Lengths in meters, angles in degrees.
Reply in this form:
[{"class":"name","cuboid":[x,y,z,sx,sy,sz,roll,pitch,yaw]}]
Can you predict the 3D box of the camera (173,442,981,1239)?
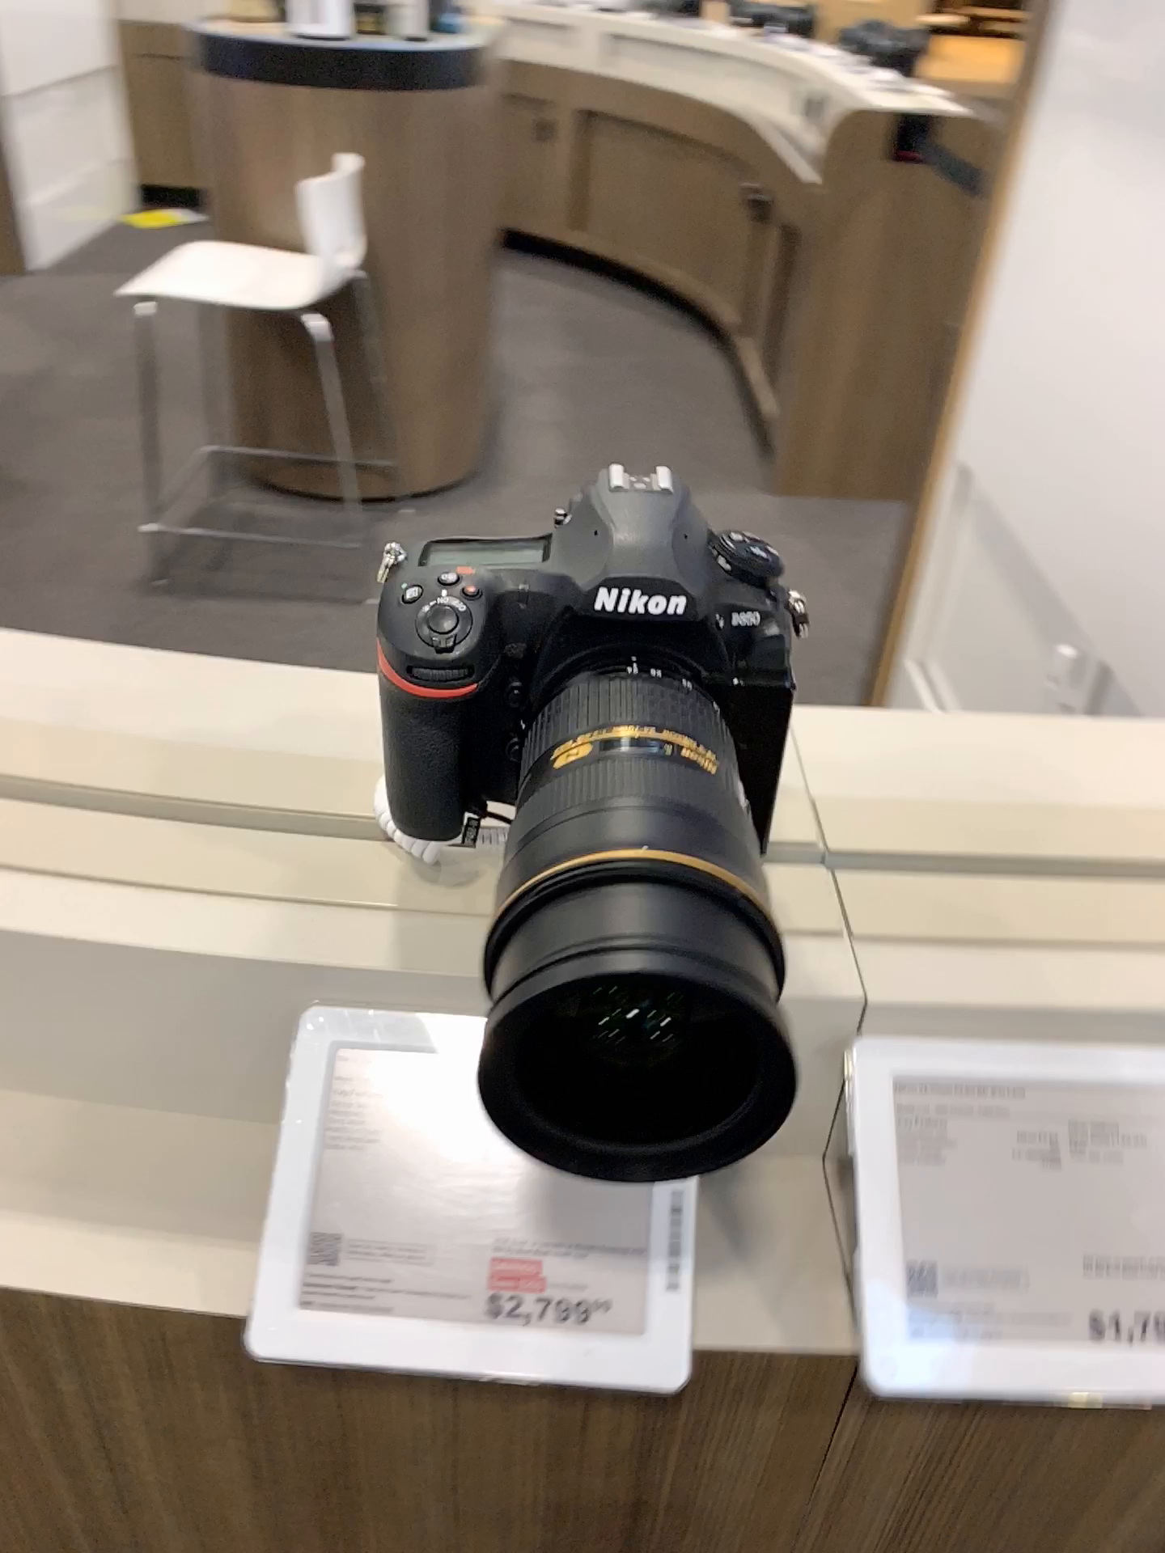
[{"class":"camera","cuboid":[-0.002,-0.002,0.367,0.160,0.109,0.242,3,35,-1]}]
